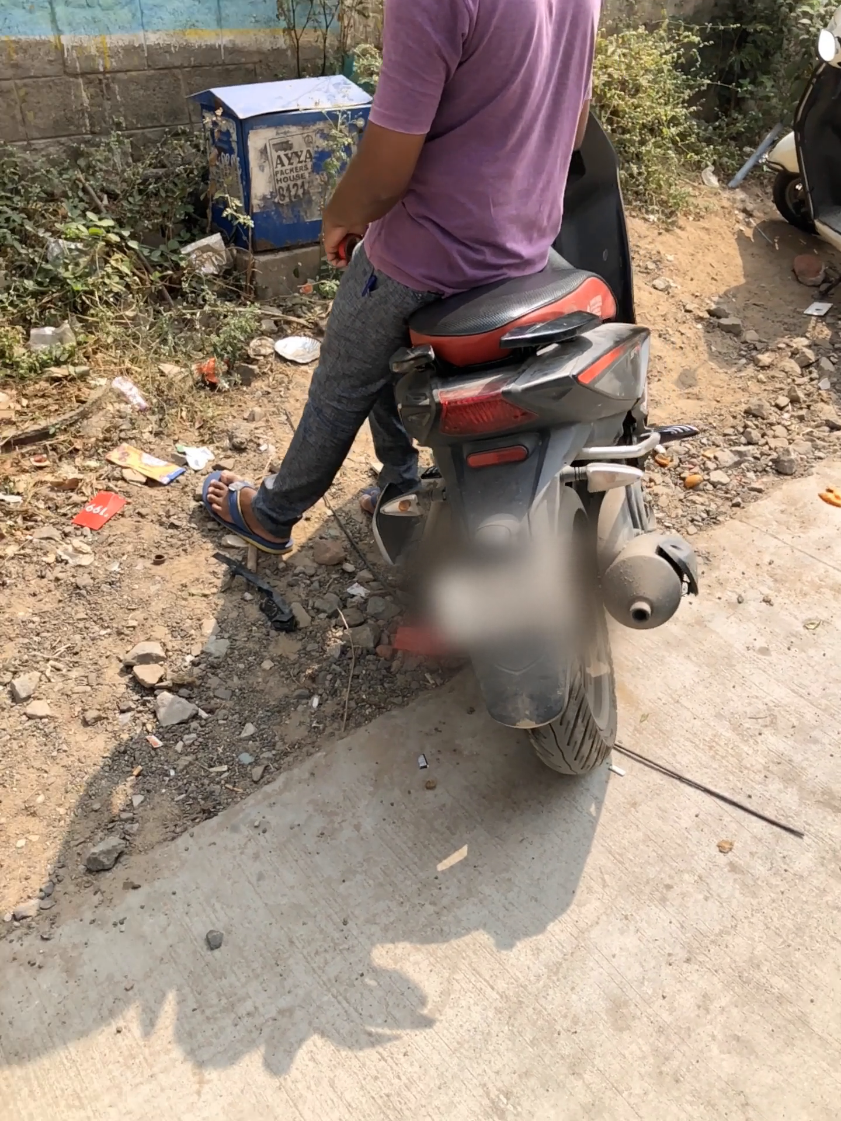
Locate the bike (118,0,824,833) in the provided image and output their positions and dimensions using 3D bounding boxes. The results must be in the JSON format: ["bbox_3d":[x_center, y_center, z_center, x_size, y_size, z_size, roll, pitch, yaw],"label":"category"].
[{"bbox_3d":[0.002,-0.589,1.981,0.717,1.199,1.776,1,38,-2],"label":"bike"}]
